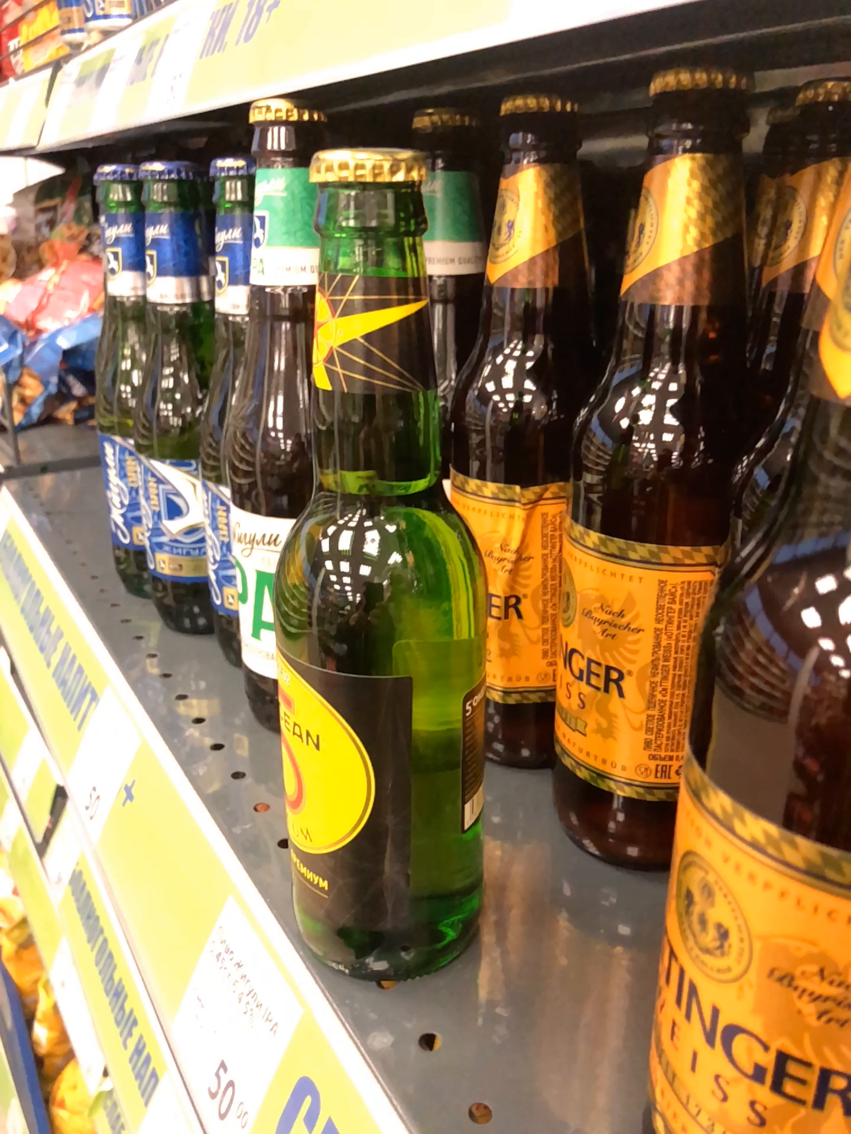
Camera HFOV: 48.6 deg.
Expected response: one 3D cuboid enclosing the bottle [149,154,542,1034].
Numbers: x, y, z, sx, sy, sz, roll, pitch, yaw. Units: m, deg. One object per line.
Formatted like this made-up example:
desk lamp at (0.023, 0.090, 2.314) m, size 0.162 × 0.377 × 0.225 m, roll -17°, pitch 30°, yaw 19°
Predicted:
bottle at (-0.018, 0.007, 0.251) m, size 0.070 × 0.210 × 0.070 m, roll -2°, pitch 21°, yaw 1°
